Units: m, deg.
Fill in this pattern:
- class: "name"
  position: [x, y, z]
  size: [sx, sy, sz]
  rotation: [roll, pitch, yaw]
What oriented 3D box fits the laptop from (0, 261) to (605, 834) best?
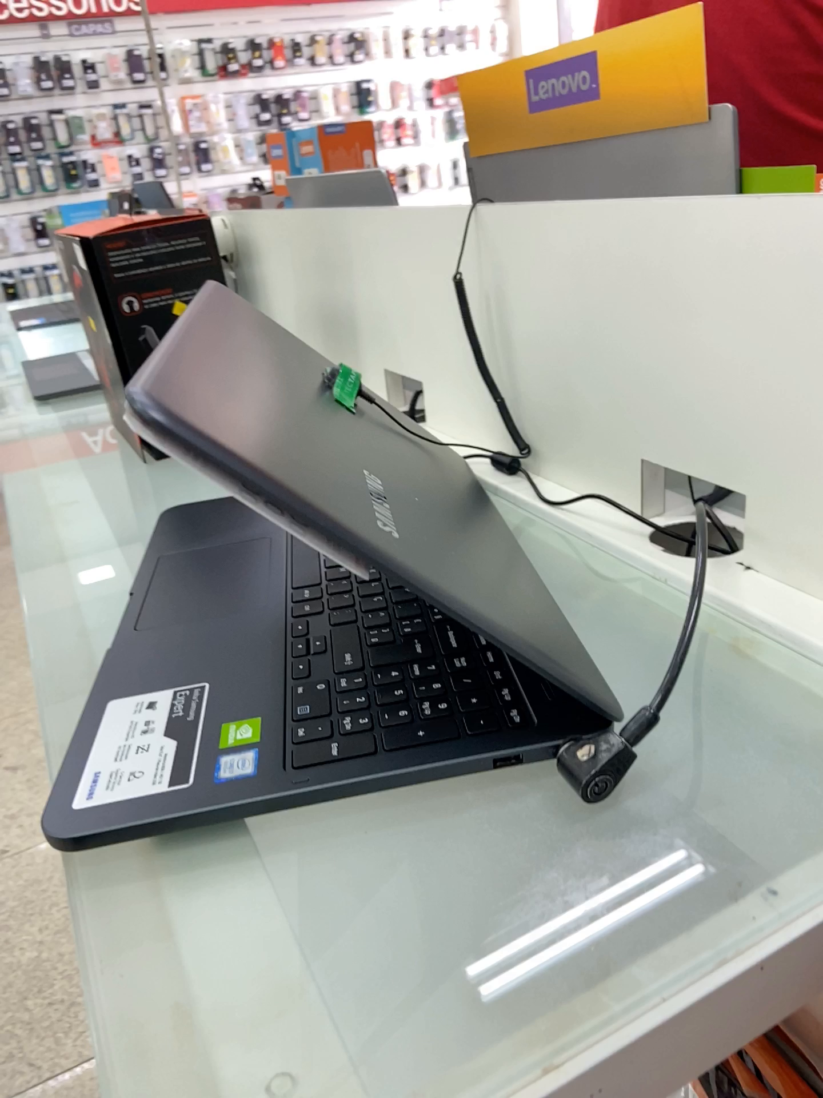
- class: "laptop"
  position: [-0.069, -0.048, 0.481]
  size: [0.231, 0.158, 0.359]
  rotation: [-11, 24, -4]
